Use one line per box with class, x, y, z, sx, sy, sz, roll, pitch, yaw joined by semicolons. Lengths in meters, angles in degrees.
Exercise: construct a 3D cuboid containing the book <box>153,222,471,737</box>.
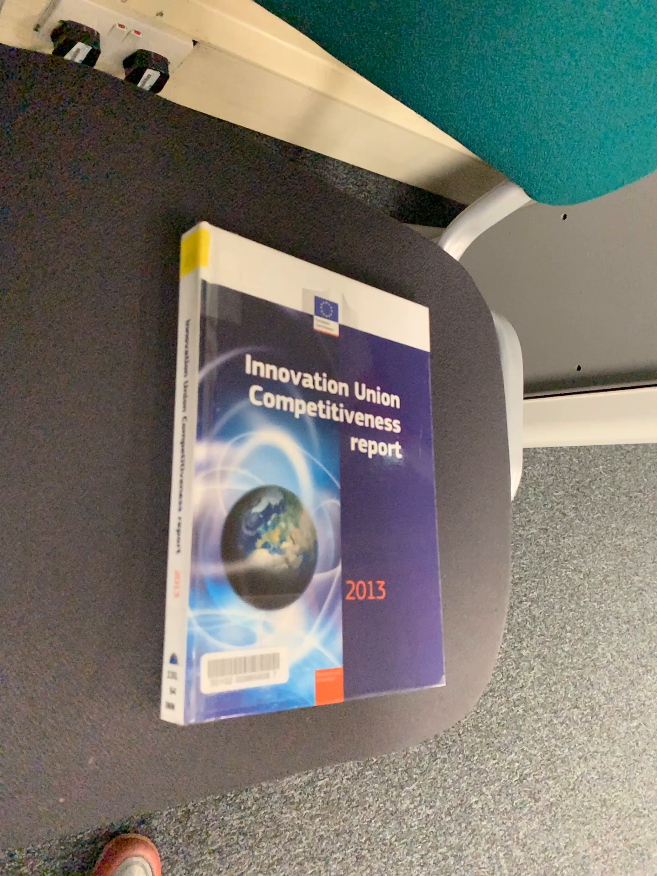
book;0.002;0.024;0.389;0.195;0.026;0.250;10;73;-37
